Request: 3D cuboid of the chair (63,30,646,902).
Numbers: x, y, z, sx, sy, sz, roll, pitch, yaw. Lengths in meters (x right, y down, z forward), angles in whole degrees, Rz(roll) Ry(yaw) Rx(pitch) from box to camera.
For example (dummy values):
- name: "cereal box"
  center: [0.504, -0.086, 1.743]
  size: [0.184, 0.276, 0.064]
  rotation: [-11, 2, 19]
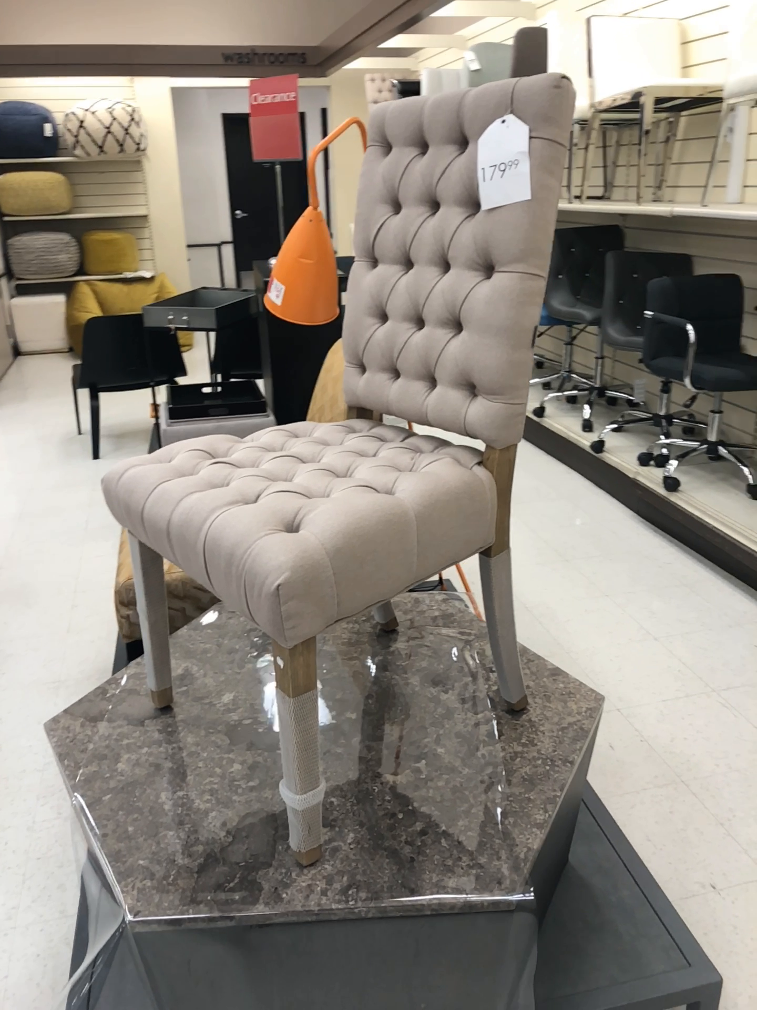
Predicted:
- name: "chair"
  center: [-0.035, -0.095, 1.330]
  size: [0.580, 1.046, 0.572]
  rotation: [-17, 25, -34]
